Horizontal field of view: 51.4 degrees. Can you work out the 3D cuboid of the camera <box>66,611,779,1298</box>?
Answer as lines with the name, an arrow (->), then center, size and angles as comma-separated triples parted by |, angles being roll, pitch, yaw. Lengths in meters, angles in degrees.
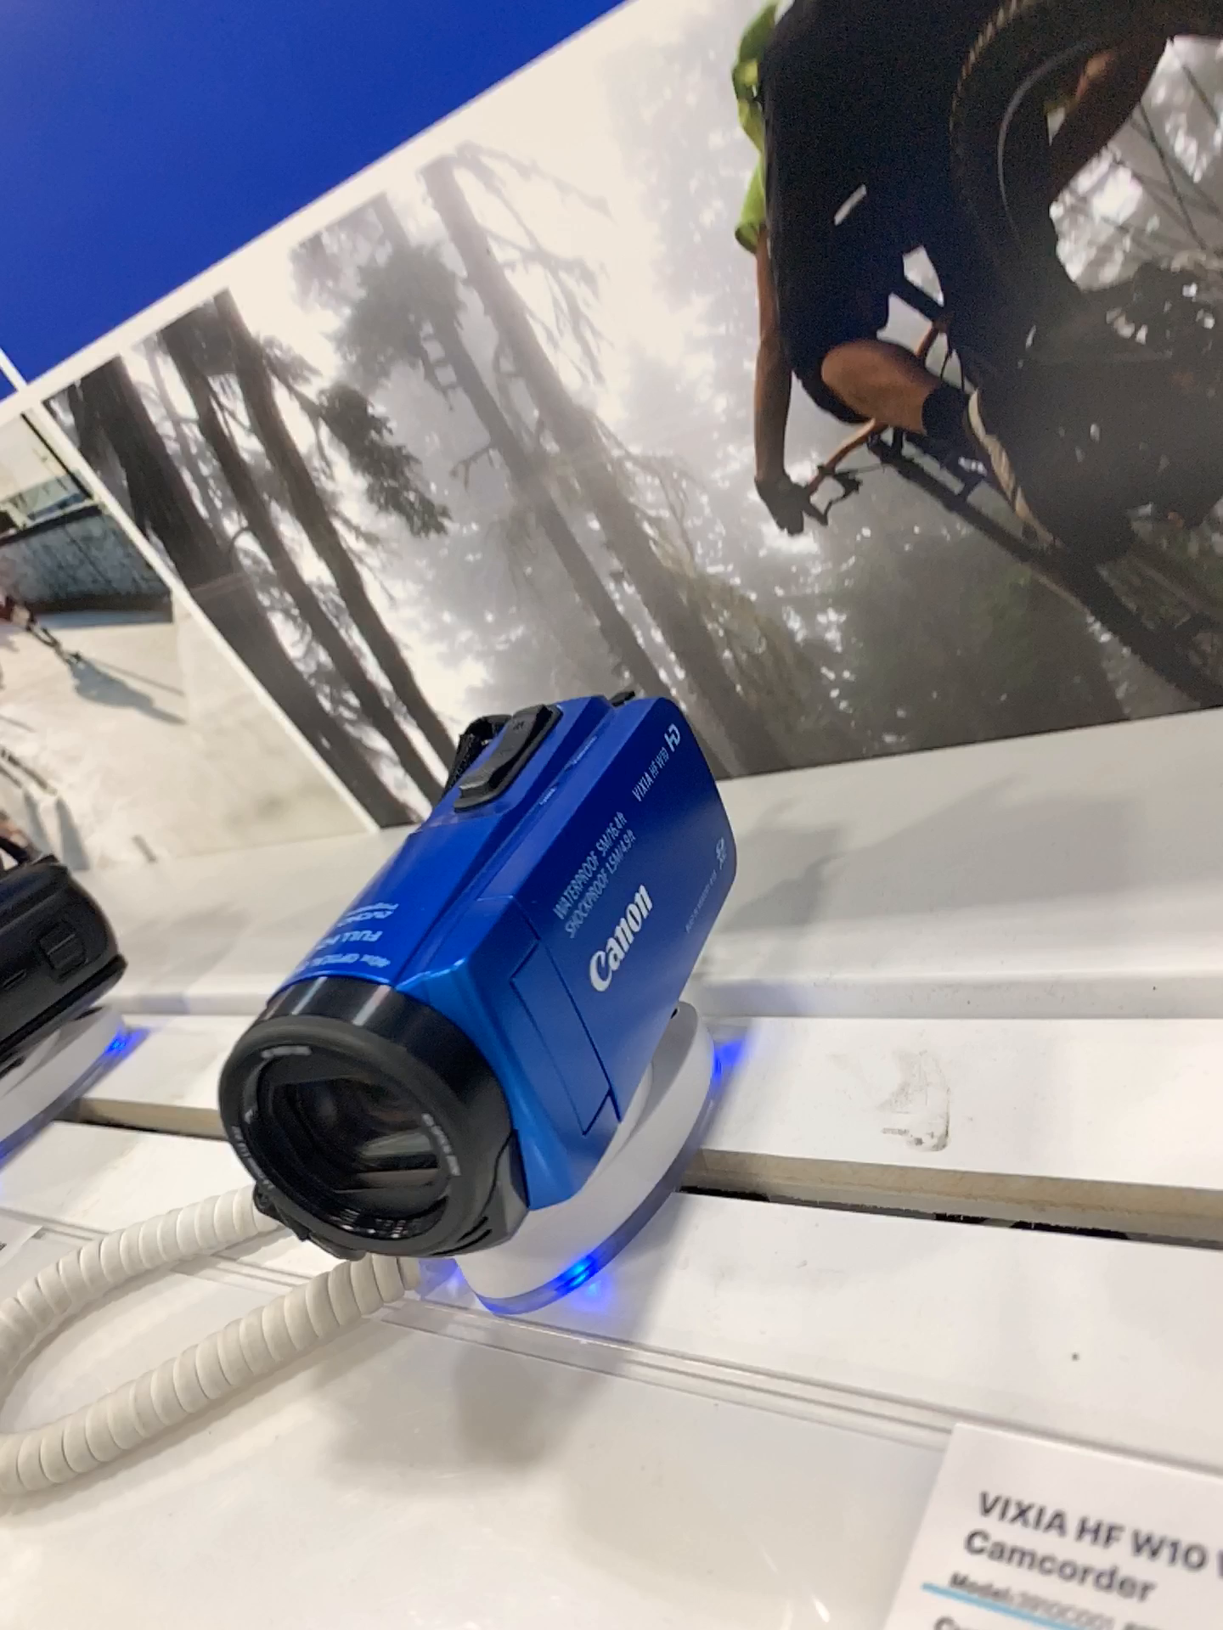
camera -> -0.024, 0.020, 0.260 | 0.072, 0.057, 0.143 | -13, 25, 28
